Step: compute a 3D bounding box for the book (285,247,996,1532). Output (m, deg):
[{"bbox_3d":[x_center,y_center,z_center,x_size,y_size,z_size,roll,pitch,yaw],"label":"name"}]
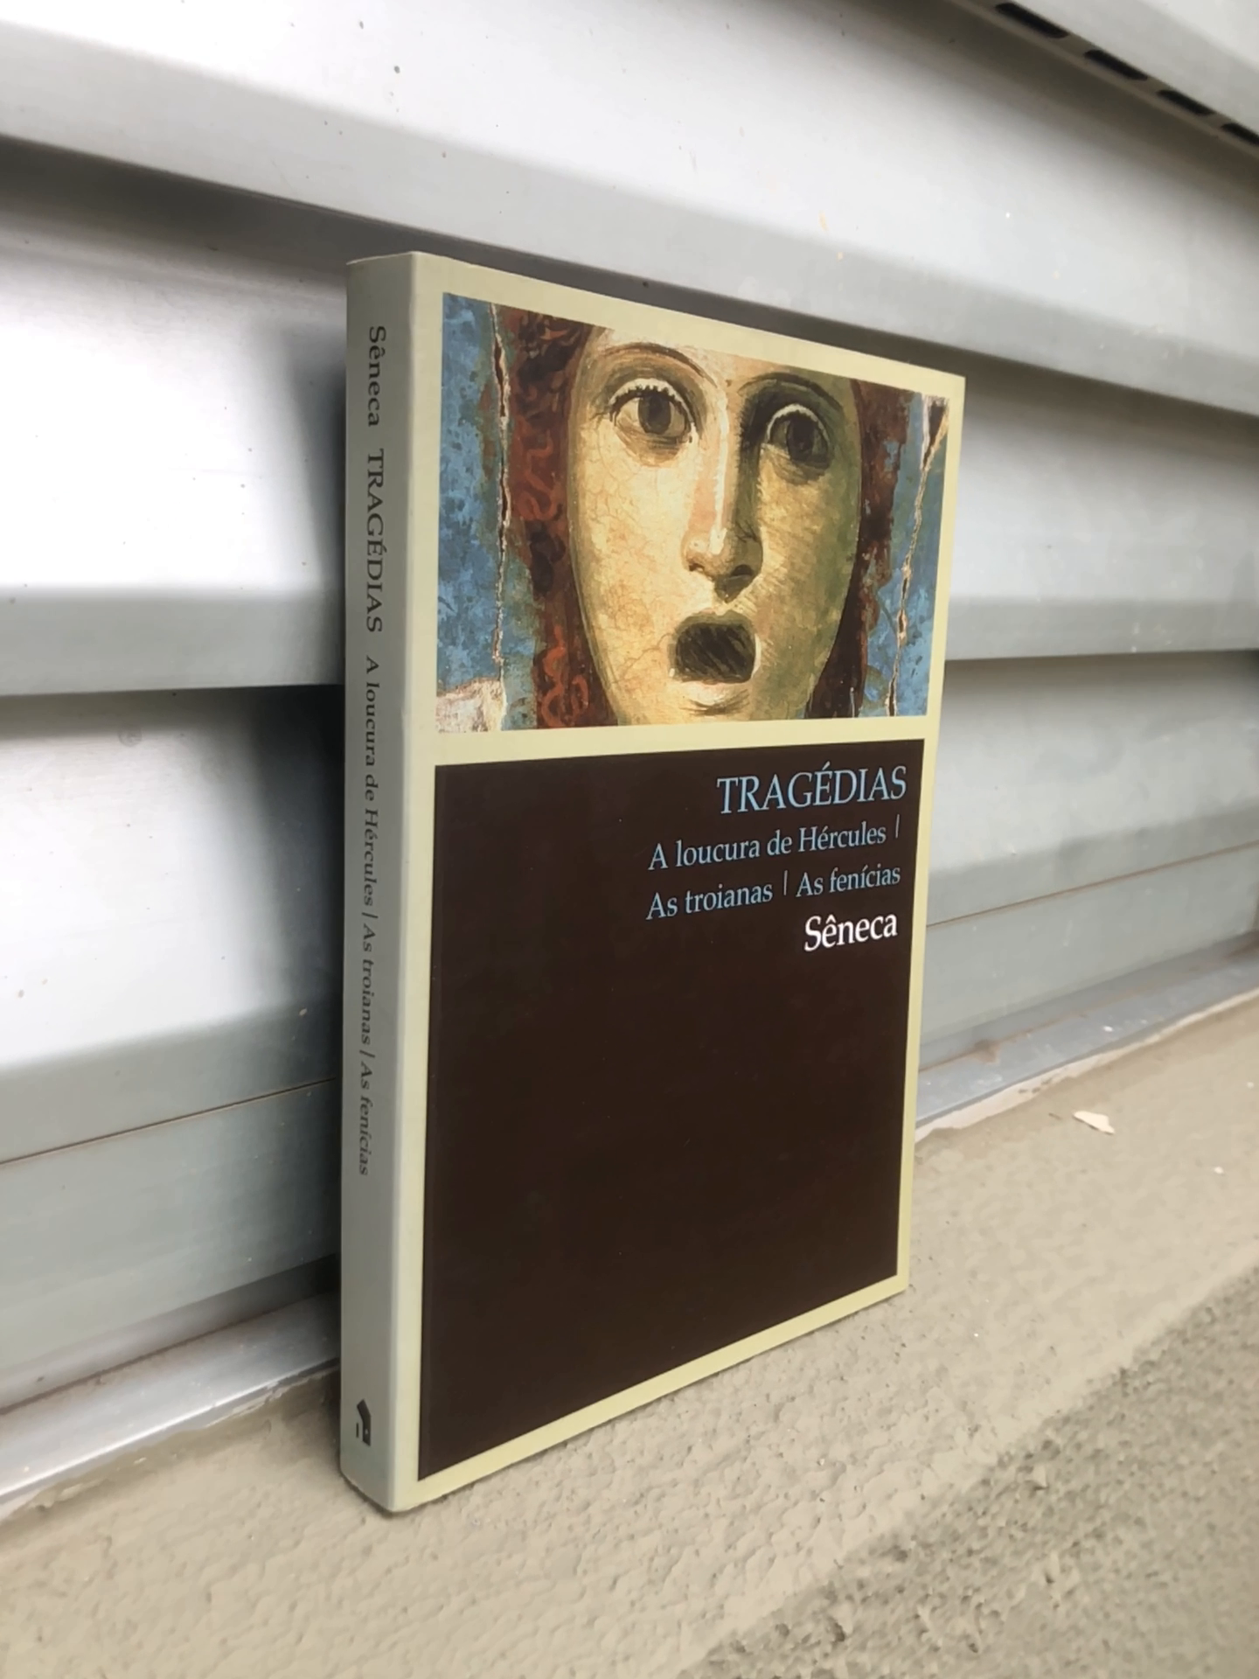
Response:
[{"bbox_3d":[0.010,0.006,0.267,0.145,0.197,0.026,-6,10,-38],"label":"book"}]
